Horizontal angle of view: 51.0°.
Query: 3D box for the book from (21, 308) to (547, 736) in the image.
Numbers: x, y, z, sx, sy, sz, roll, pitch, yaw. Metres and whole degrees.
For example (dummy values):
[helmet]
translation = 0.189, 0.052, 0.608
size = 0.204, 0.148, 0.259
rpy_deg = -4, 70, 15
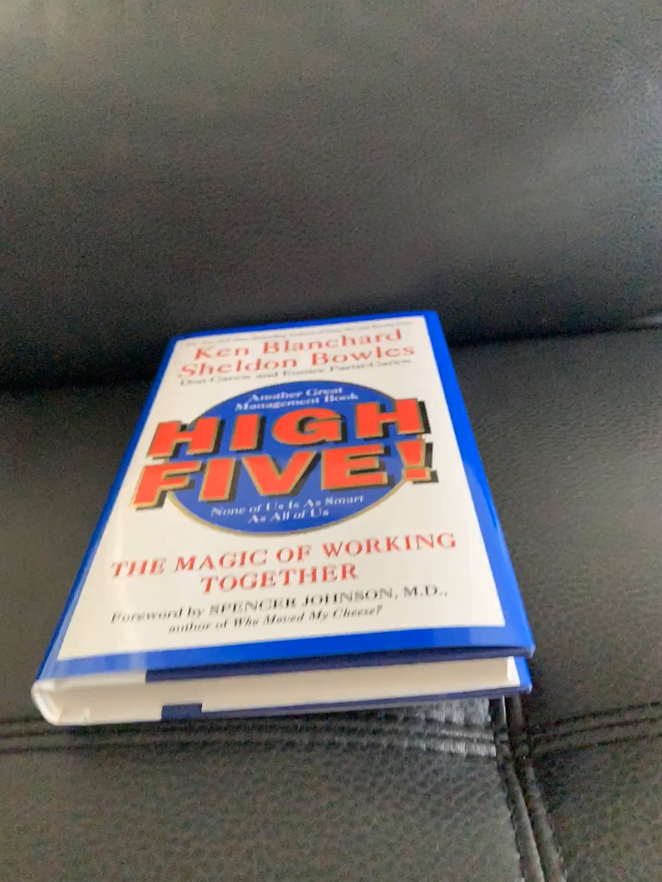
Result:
[book]
translation = -0.015, 0.010, 0.293
size = 0.150, 0.023, 0.222
rpy_deg = -5, 36, 2
